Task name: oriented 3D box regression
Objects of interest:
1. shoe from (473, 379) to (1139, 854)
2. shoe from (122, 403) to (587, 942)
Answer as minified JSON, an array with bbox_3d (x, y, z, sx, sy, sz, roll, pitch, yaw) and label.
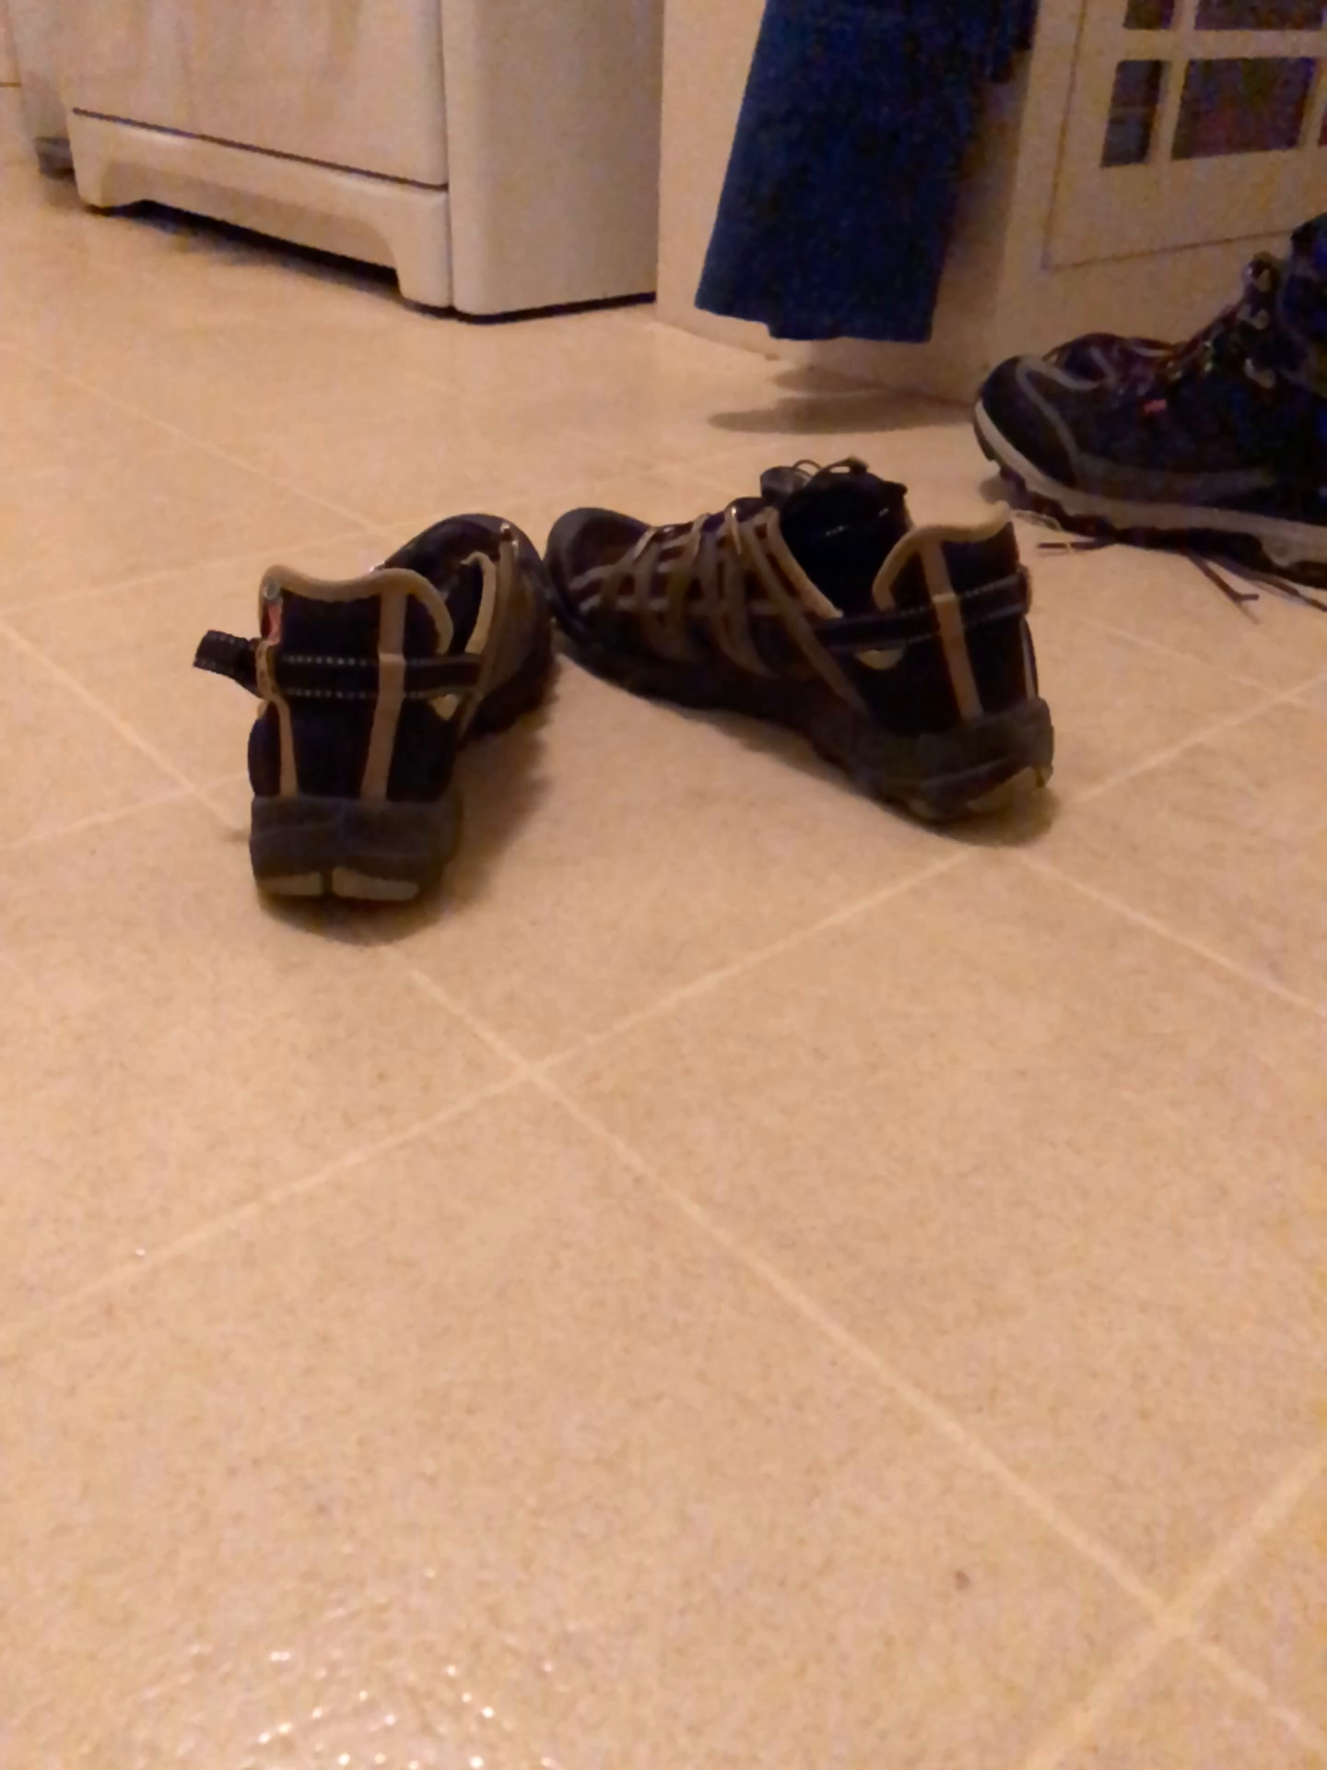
[{"bbox_3d":[0.047,-0.136,0.659,0.109,0.111,0.287,-25,41,-37],"label":"shoe"},{"bbox_3d":[-0.104,-0.104,0.596,0.100,0.109,0.281,5,32,5],"label":"shoe"}]
